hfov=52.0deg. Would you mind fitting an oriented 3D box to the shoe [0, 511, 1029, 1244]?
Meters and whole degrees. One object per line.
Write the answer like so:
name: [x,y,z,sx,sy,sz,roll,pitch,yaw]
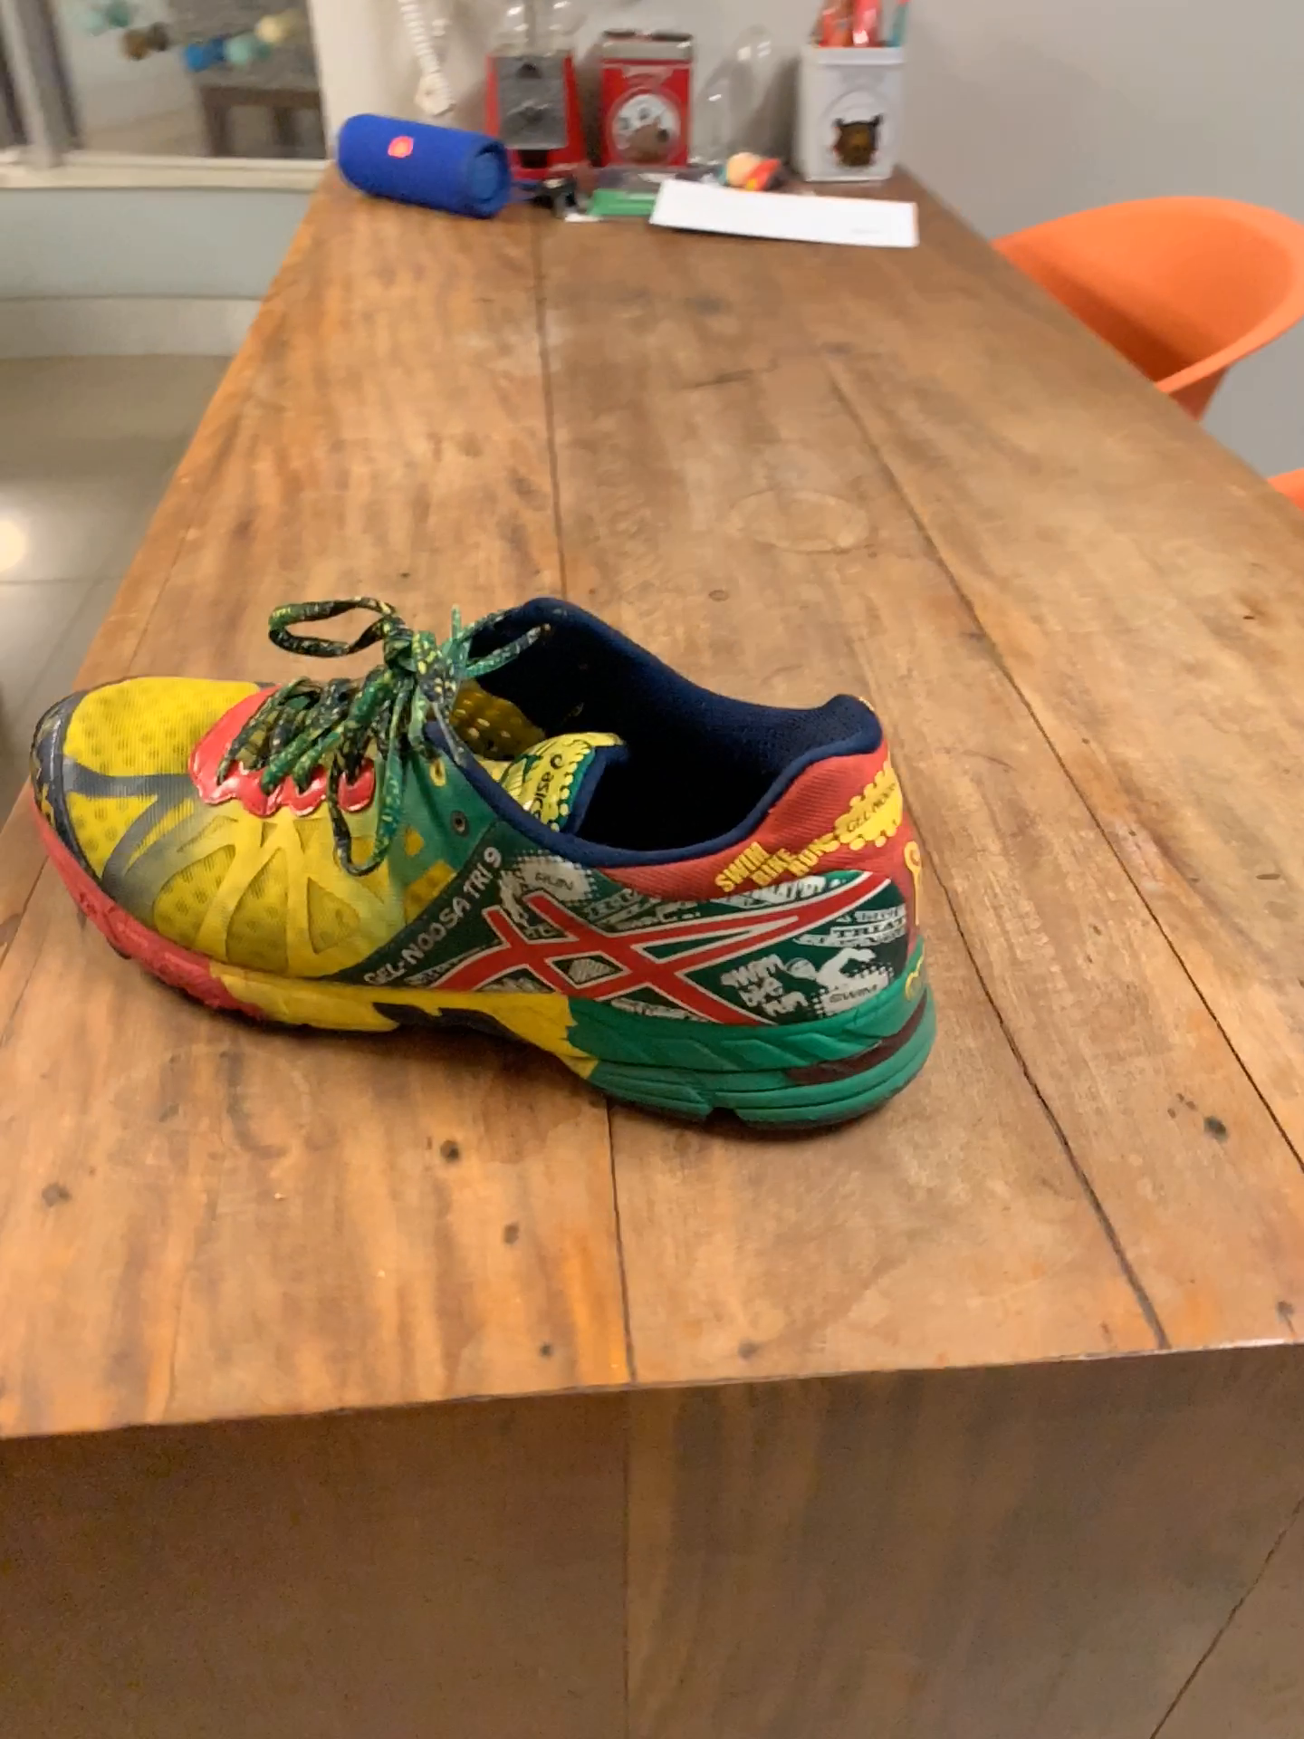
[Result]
shoe: [-0.056,-0.013,0.398,0.295,0.102,0.114,15,41,19]
